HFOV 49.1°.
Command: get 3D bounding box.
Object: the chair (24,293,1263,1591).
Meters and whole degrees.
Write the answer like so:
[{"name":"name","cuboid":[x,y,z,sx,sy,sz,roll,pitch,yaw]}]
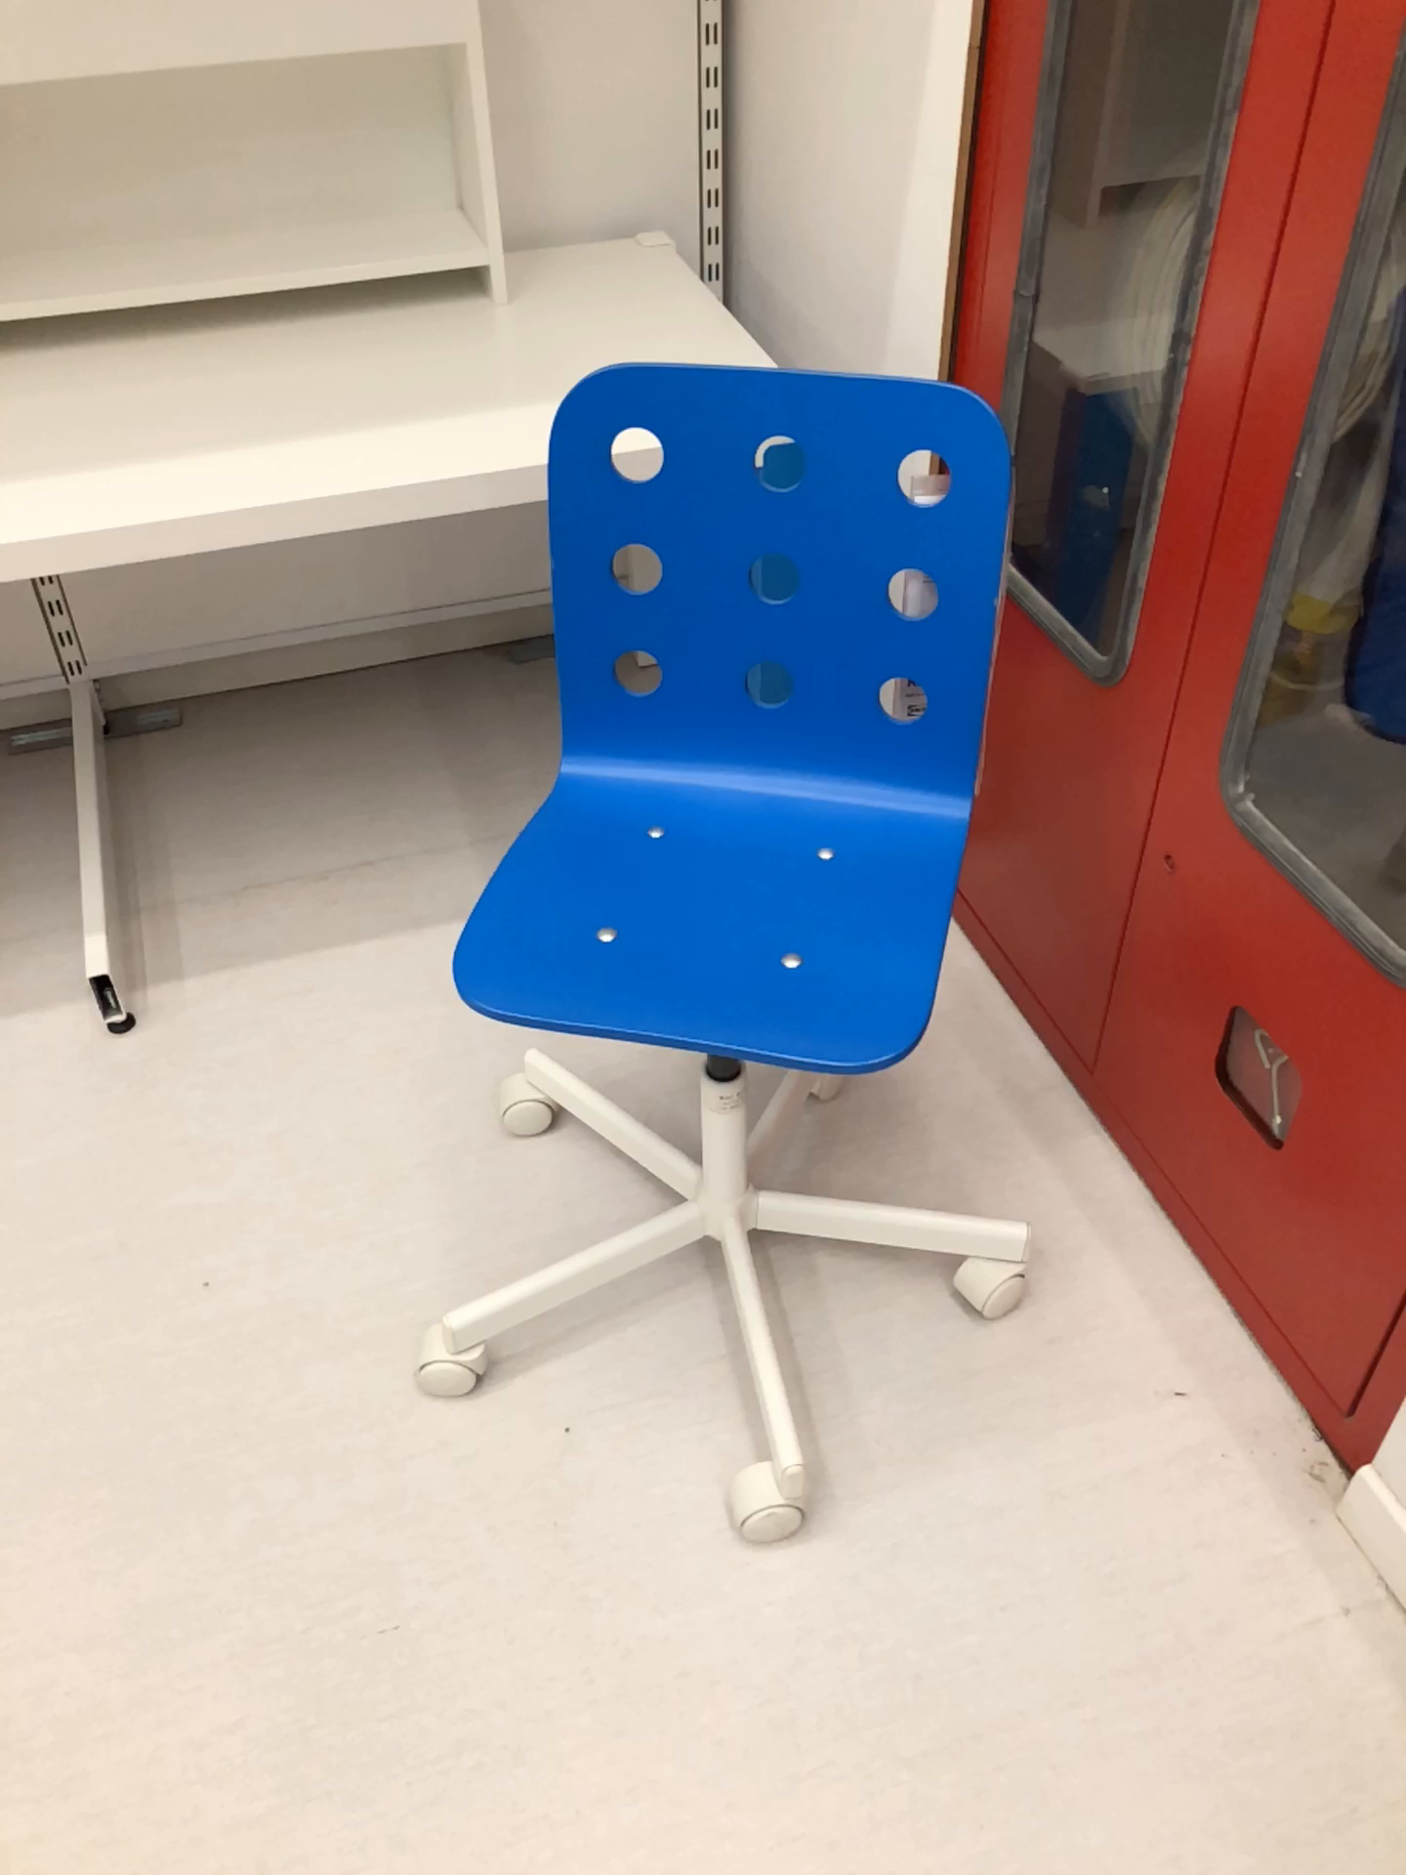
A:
[{"name":"chair","cuboid":[0.011,0.004,1.072,0.550,0.685,0.493,7,42,9]}]
